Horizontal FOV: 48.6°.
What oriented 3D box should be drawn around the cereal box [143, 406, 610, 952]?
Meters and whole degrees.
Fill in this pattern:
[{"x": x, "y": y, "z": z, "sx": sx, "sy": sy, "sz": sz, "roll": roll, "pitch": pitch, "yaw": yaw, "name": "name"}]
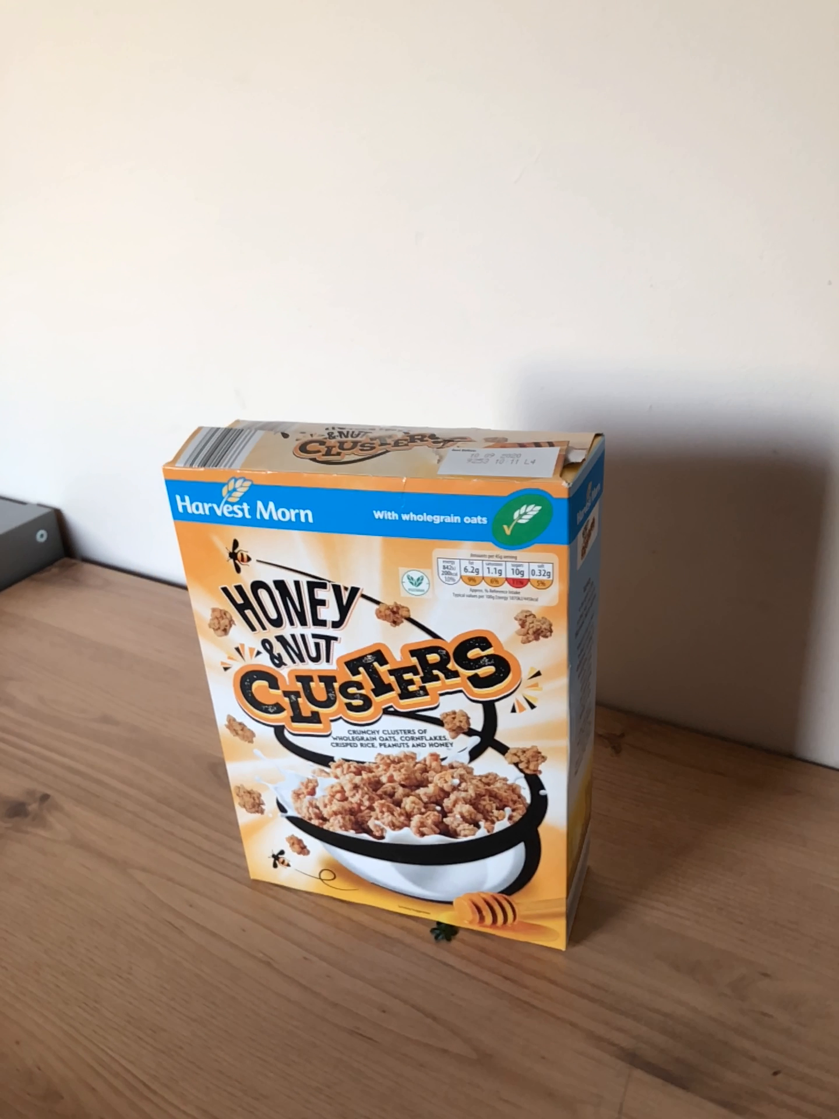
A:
[{"x": -0.009, "y": 0.058, "z": 0.458, "sx": 0.190, "sy": 0.248, "sz": 0.070, "roll": 5, "pitch": 30, "yaw": 19, "name": "cereal box"}]
